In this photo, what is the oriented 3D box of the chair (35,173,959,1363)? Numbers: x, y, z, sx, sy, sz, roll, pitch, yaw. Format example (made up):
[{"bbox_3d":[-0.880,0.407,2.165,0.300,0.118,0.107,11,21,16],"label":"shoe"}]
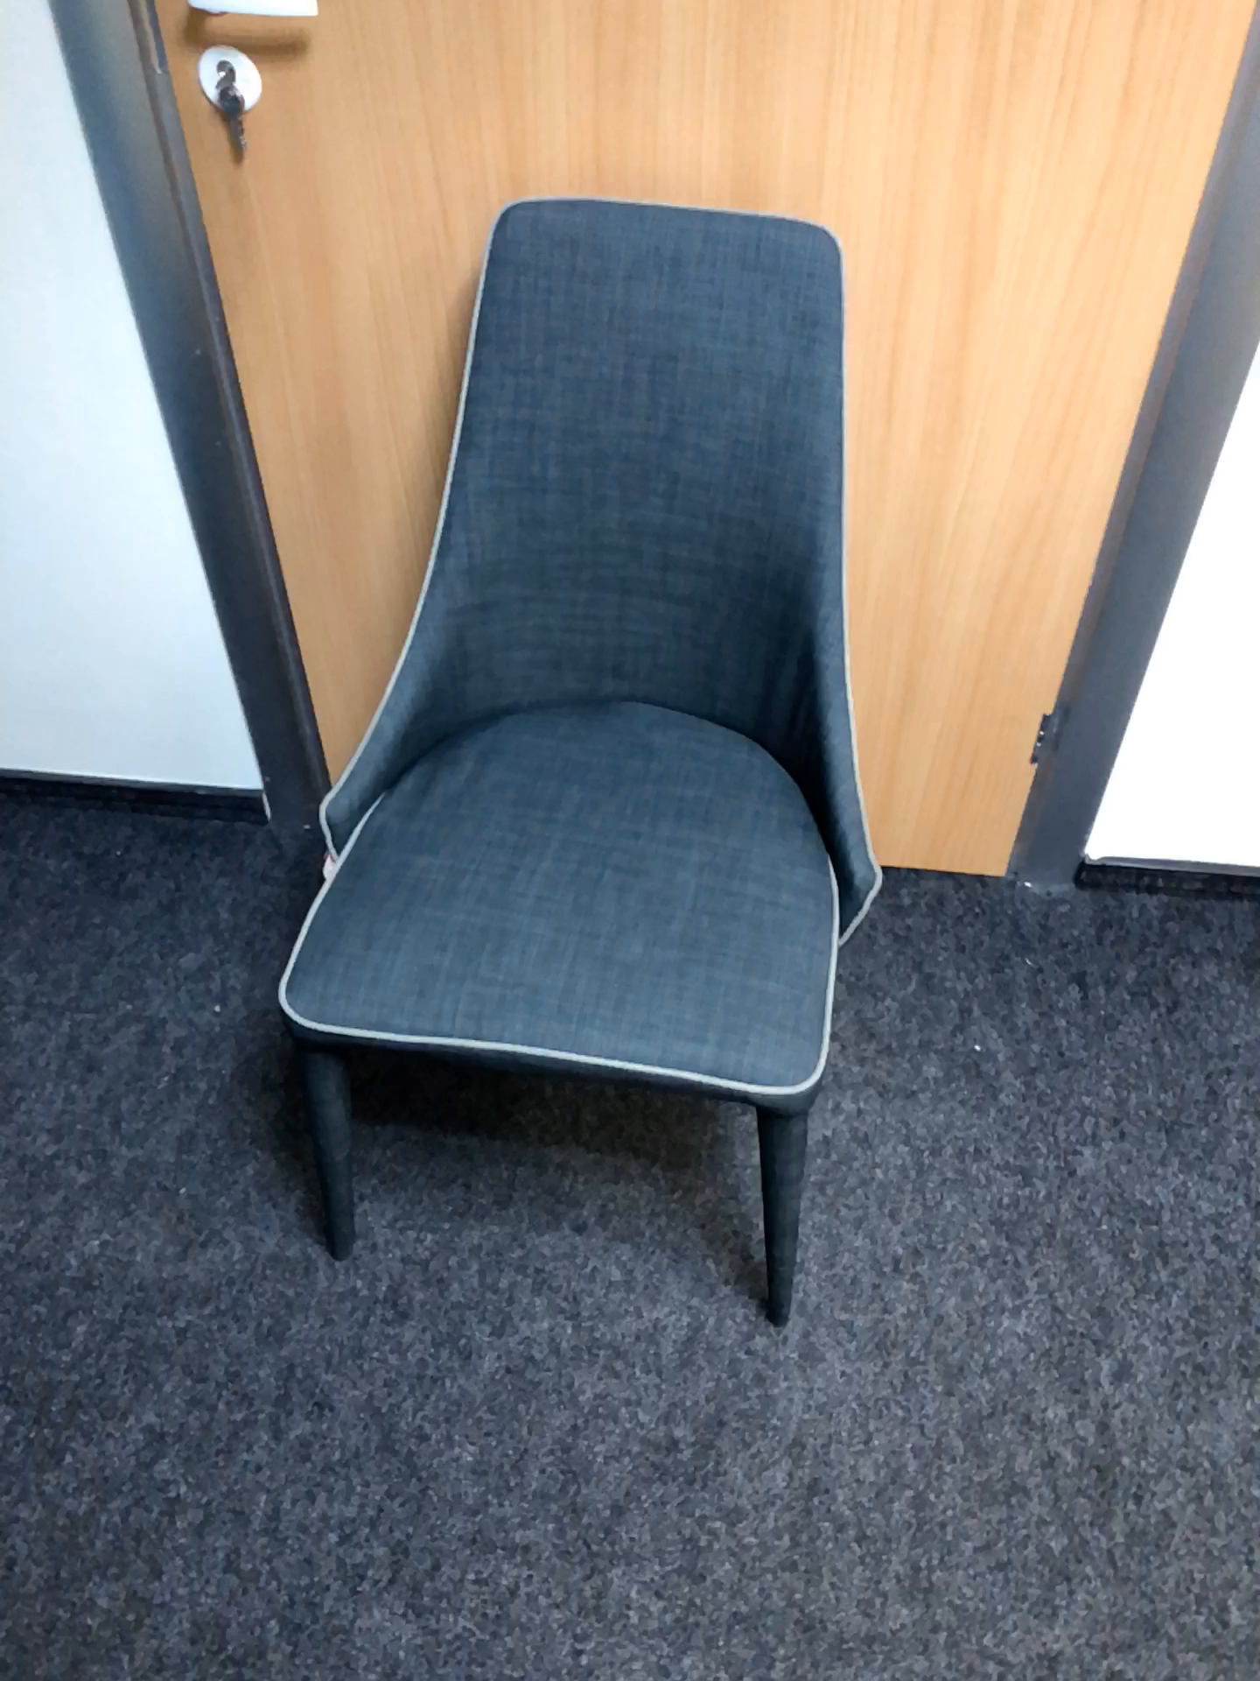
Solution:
[{"bbox_3d":[-0.031,-0.043,1.284,0.520,0.845,0.644,6,47,6],"label":"chair"}]
